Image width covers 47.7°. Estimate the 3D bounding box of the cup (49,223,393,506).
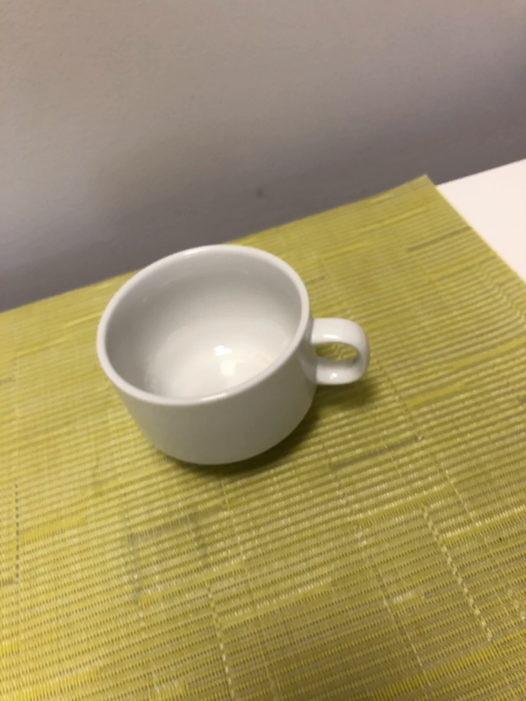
[{"bbox_3d":[-0.010,0.000,0.248,0.110,0.057,0.086,9,51,19],"label":"cup"}]
